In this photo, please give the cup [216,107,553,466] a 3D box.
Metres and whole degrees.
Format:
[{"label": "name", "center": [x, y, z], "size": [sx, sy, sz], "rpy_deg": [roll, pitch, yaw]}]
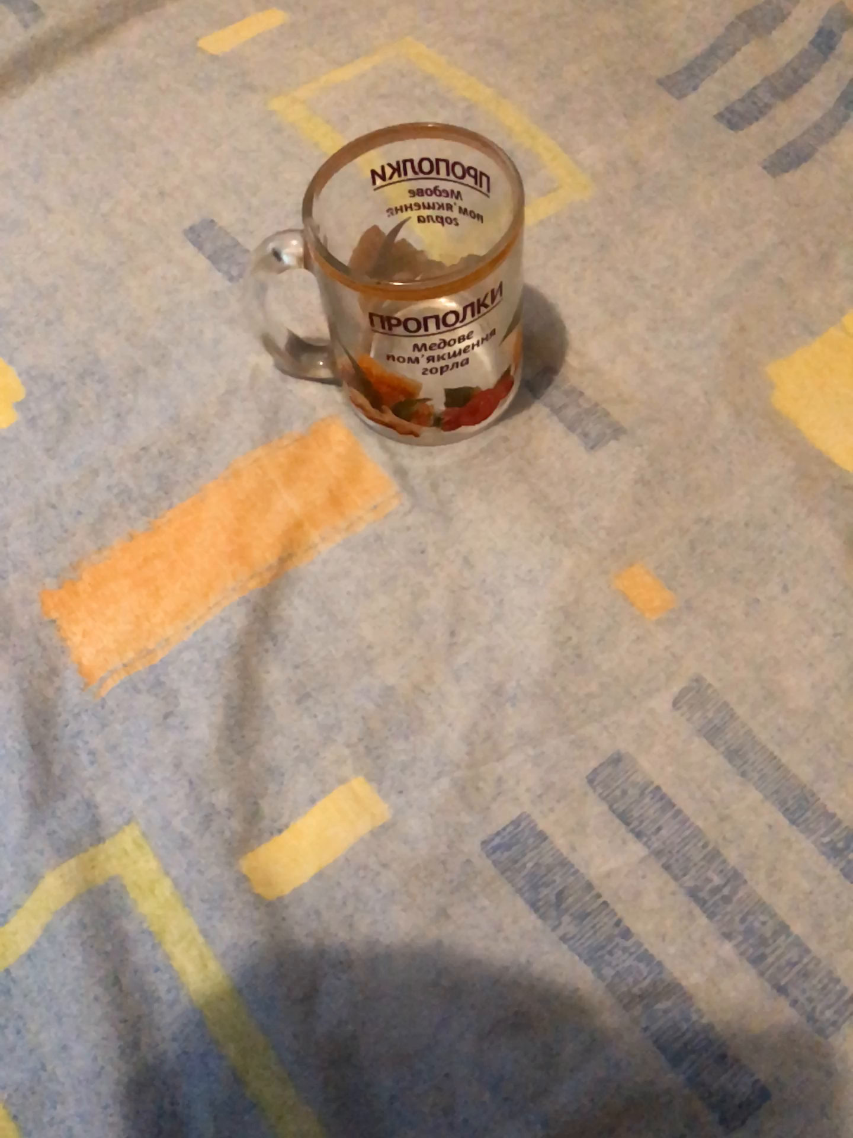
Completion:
[{"label": "cup", "center": [-0.016, -0.106, 0.366], "size": [0.110, 0.092, 0.084], "rpy_deg": [-6, 64, -1]}]
